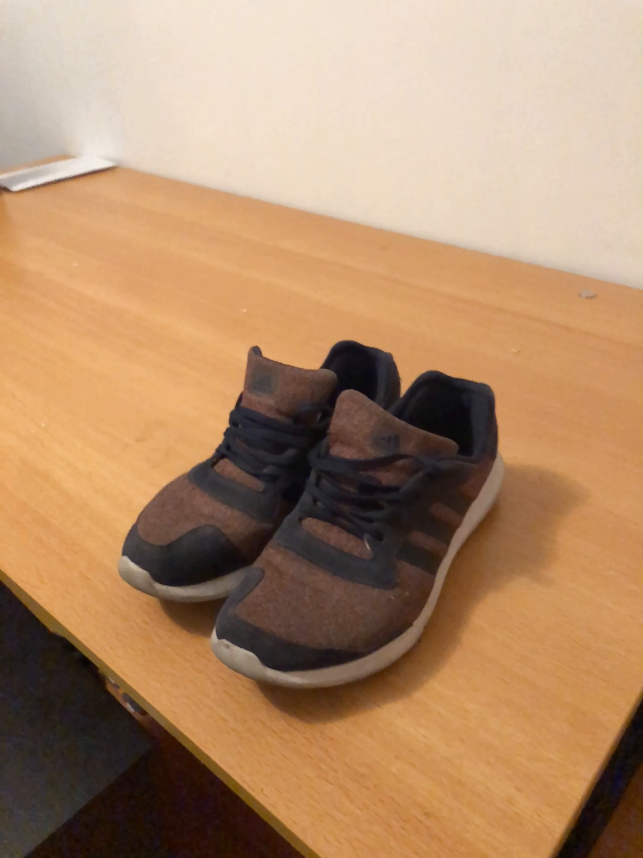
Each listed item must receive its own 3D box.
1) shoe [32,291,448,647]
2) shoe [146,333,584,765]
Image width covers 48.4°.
[{"bbox_3d":[-0.040,0.005,0.539,0.130,0.099,0.291,23,41,33],"label":"shoe"},{"bbox_3d":[0.042,0.049,0.453,0.130,0.099,0.261,23,41,33],"label":"shoe"}]
